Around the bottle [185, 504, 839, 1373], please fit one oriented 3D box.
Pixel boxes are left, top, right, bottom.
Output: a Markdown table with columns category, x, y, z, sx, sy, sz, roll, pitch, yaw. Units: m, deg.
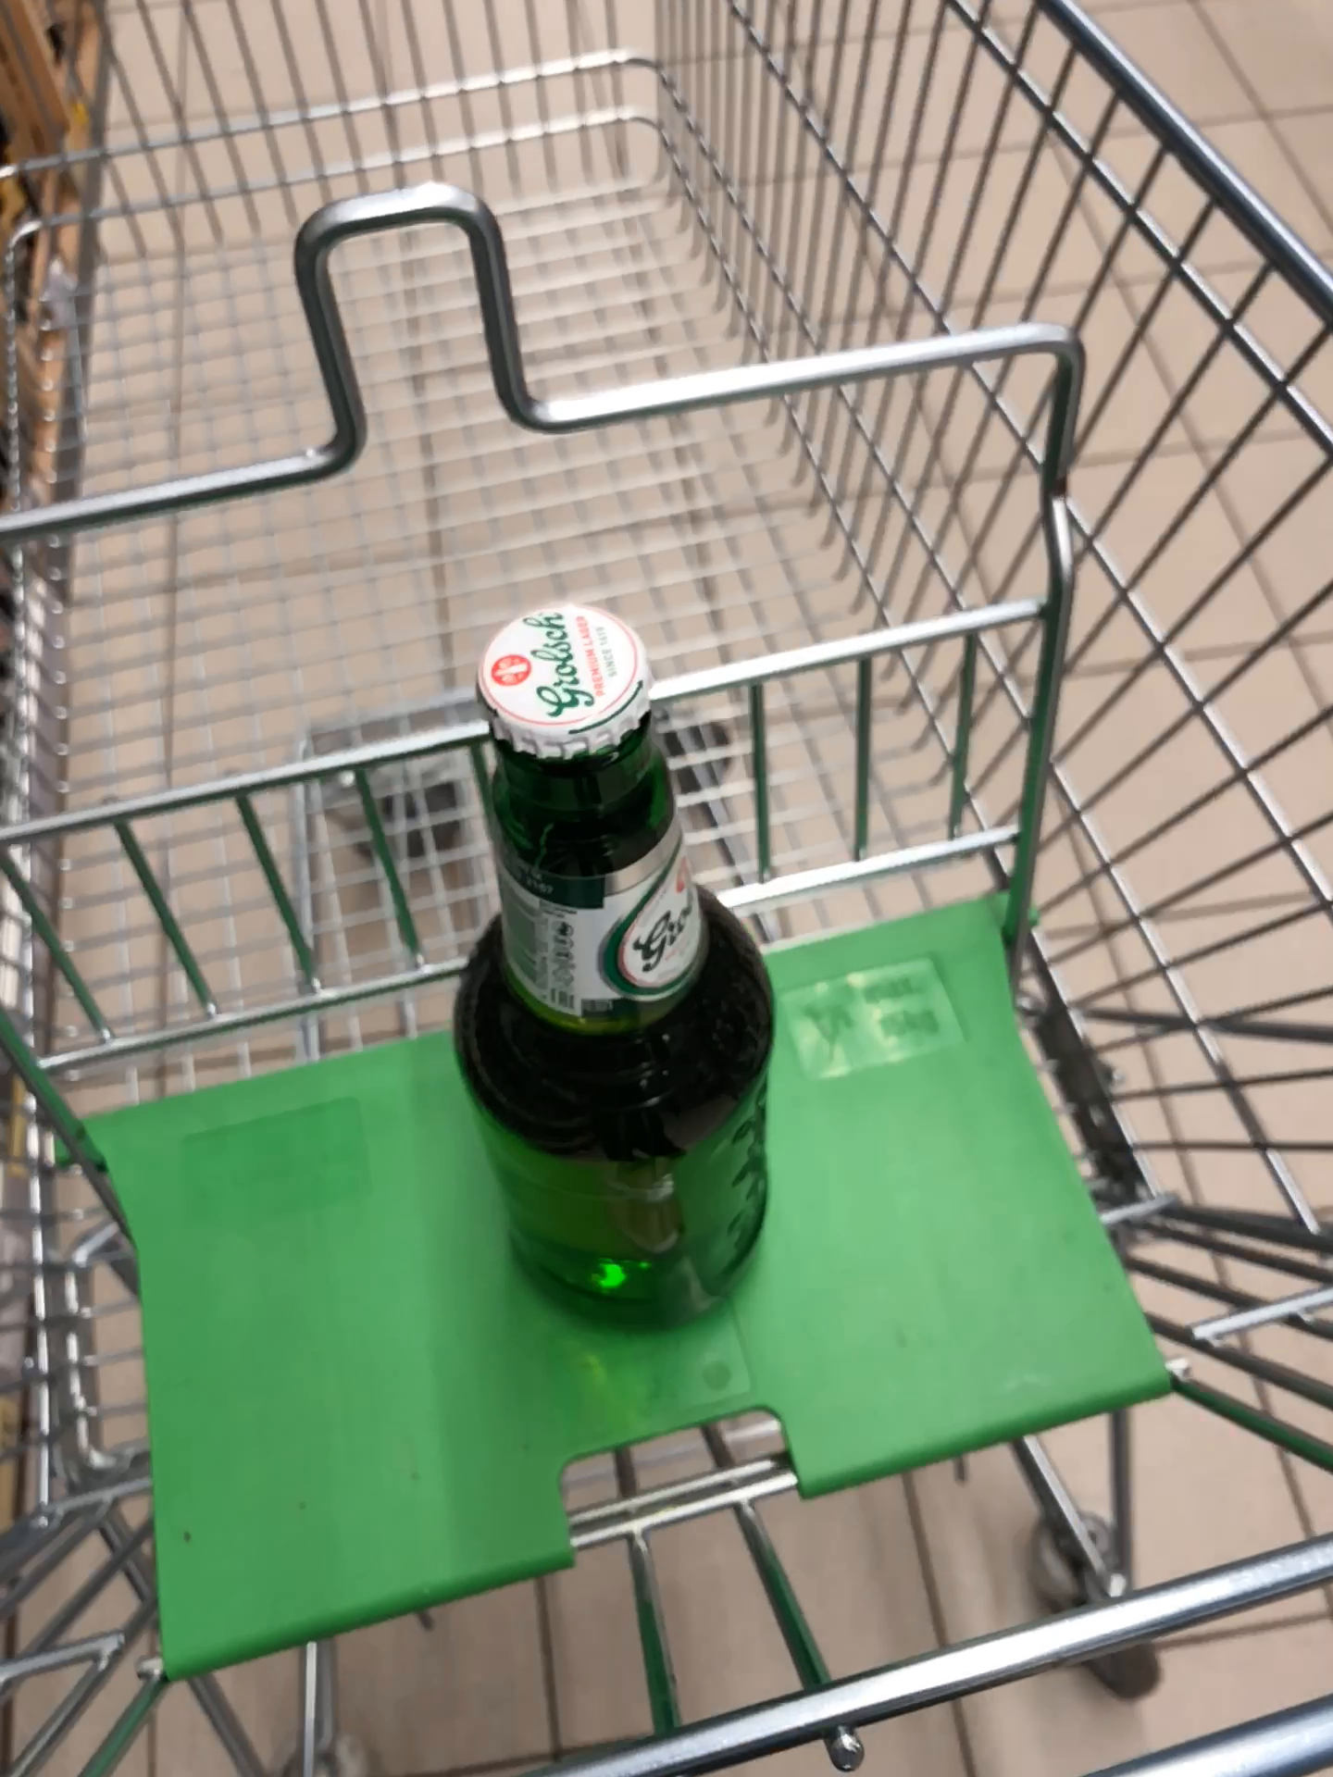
| category | x | y | z | sx | sy | sz | roll | pitch | yaw |
| --- | --- | --- | --- | --- | --- | --- | --- | --- | --- |
| bottle | -0.017 | 0.031 | 0.325 | 0.080 | 0.219 | 0.080 | -1 | 60 | 2 |
